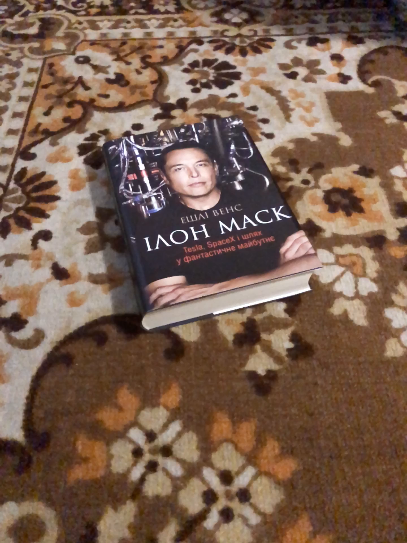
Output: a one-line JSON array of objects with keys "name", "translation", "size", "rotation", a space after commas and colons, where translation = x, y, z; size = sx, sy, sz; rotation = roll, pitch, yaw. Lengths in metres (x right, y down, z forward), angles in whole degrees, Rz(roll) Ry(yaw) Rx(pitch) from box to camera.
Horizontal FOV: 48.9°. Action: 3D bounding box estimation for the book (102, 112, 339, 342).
[{"name": "book", "translation": [0.003, -0.066, 0.495], "size": [0.184, 0.050, 0.251], "rotation": [-13, 56, -10]}]
